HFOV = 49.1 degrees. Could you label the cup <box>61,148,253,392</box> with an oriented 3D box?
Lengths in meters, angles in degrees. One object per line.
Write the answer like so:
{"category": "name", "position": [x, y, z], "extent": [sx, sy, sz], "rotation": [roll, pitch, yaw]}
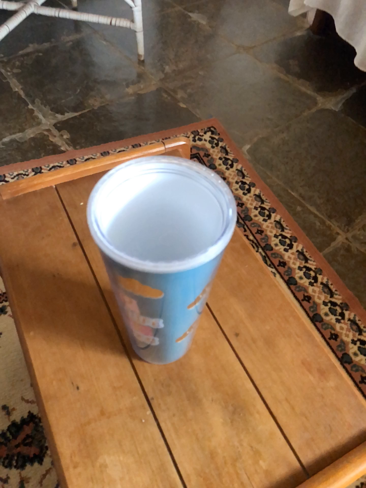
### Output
{"category": "cup", "position": [-0.026, 0.031, 0.330], "extent": [0.100, 0.179, 0.101], "rotation": [2, 53, -3]}
